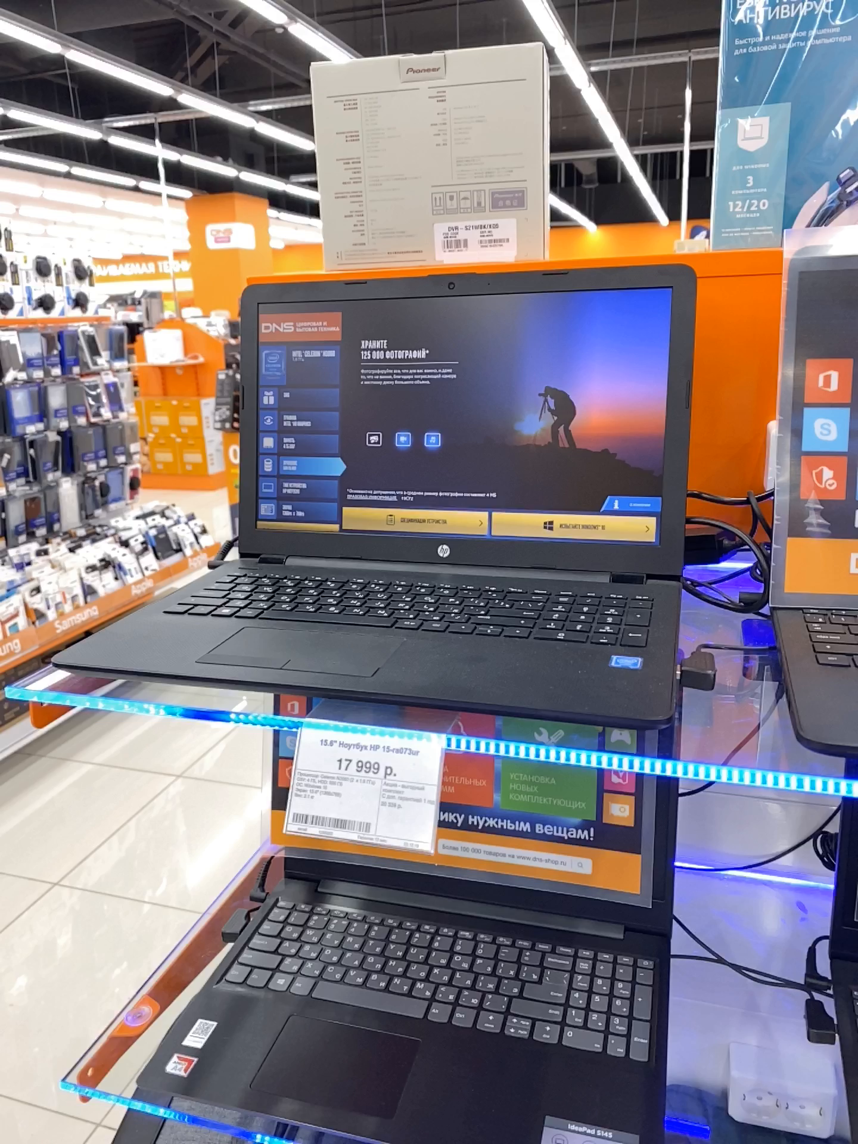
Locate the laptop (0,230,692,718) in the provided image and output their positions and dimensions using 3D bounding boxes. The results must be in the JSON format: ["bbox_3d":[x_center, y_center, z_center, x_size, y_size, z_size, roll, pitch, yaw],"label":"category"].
[{"bbox_3d":[-0.021,-0.092,0.630,0.388,0.235,0.323,3,16,17],"label":"laptop"}]
